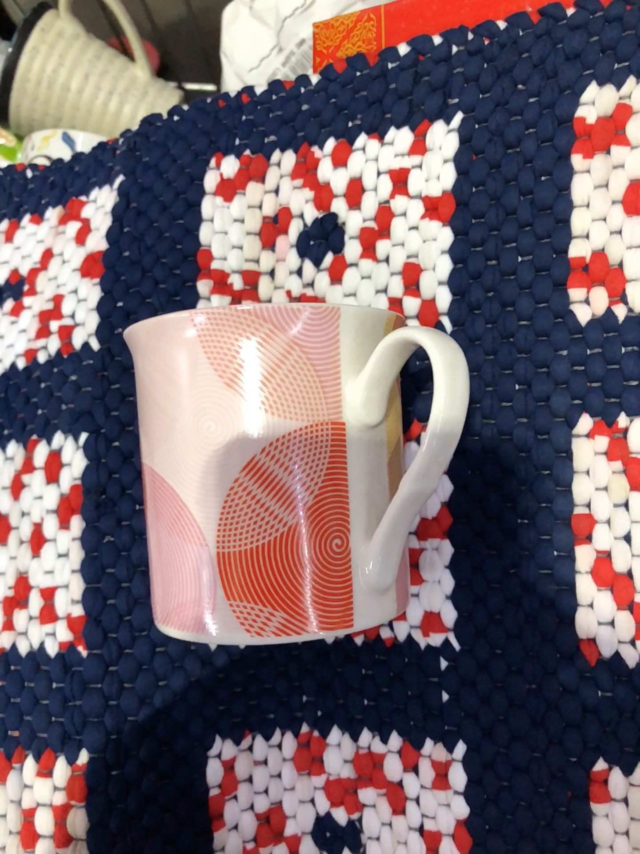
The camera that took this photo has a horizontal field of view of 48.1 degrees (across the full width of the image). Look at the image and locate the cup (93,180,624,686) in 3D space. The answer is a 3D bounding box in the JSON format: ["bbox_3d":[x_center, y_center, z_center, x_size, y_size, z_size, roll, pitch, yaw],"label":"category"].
[{"bbox_3d":[0.009,0.008,0.218,0.120,0.100,0.100,-8,82,41],"label":"cup"}]
